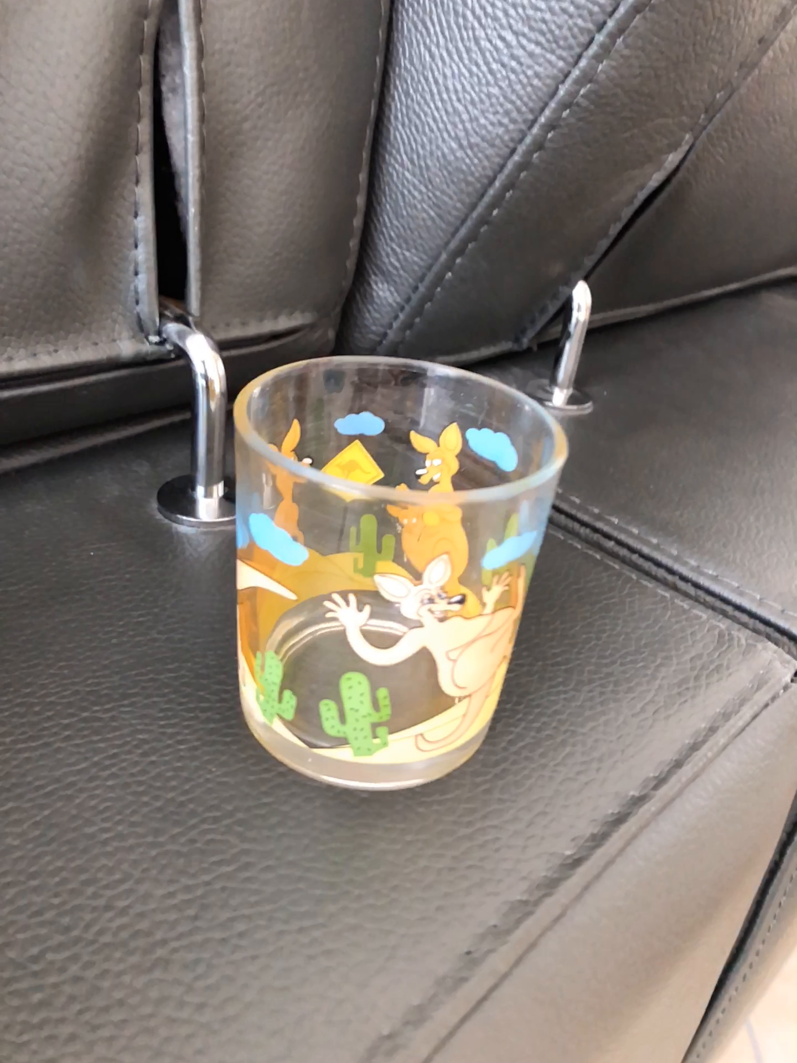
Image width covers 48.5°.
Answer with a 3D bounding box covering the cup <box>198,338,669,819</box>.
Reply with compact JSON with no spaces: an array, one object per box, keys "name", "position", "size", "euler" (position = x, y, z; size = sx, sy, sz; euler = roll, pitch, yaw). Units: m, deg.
[{"name":"cup","position":[0.001,0.005,0.214],"size":[0.080,0.079,0.070],"euler":[-8,34,-26]}]
